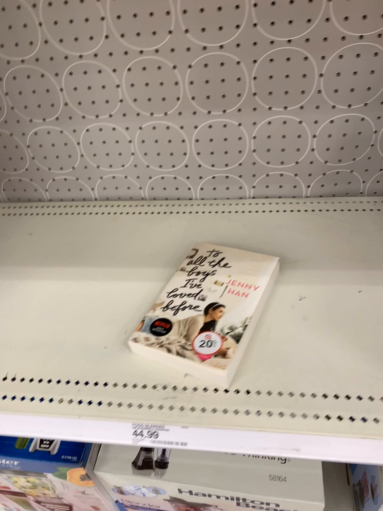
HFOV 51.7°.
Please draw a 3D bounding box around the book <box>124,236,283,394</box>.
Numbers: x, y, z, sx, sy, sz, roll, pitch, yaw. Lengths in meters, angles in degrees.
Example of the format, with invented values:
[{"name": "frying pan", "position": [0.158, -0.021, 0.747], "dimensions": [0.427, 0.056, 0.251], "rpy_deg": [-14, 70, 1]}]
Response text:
[{"name": "book", "position": [0.026, 0.066, 0.551], "dimensions": [0.144, 0.034, 0.214], "rpy_deg": [14, 47, 22]}]
